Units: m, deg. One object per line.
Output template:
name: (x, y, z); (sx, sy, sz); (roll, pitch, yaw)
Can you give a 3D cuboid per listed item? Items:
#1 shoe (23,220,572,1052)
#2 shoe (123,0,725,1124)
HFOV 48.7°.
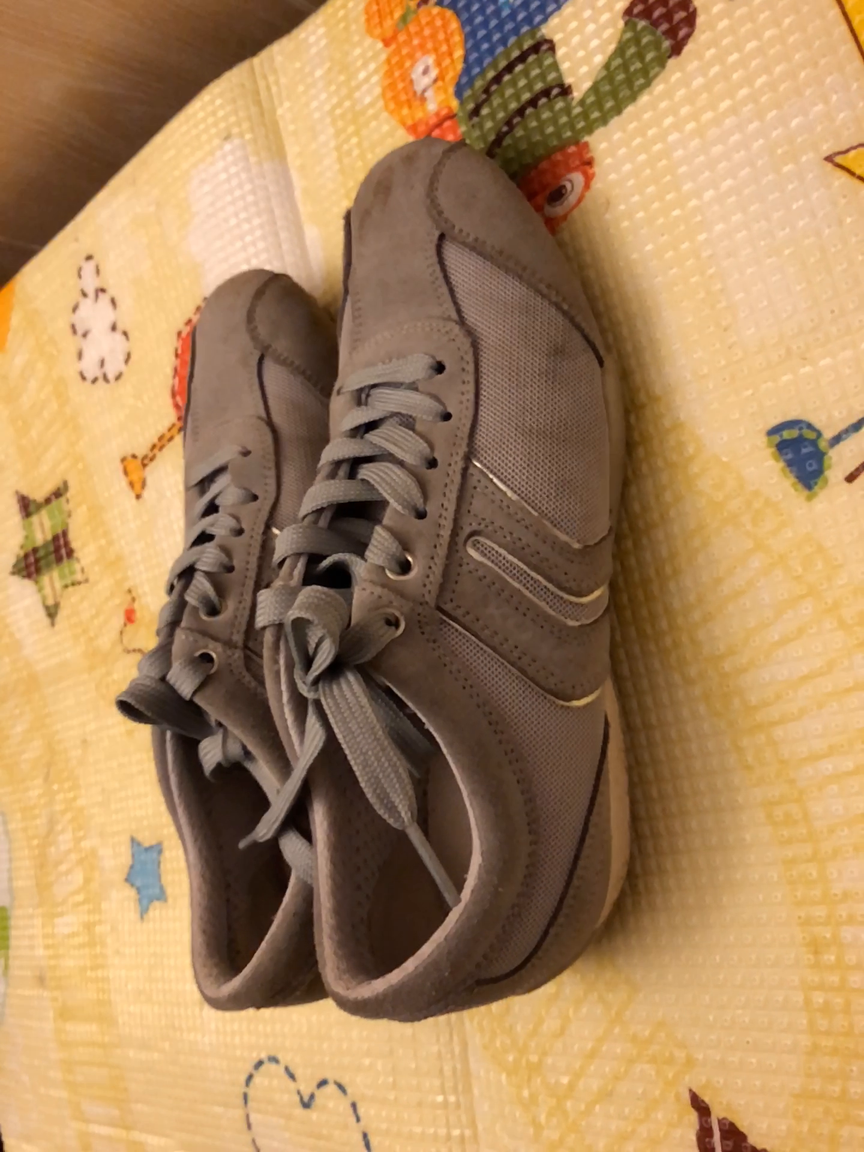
shoe: (-0.048, 0.019, 0.331); (0.090, 0.119, 0.230); (-21, 76, 40)
shoe: (0.000, -0.006, 0.263); (0.091, 0.119, 0.230); (-8, 85, 42)
